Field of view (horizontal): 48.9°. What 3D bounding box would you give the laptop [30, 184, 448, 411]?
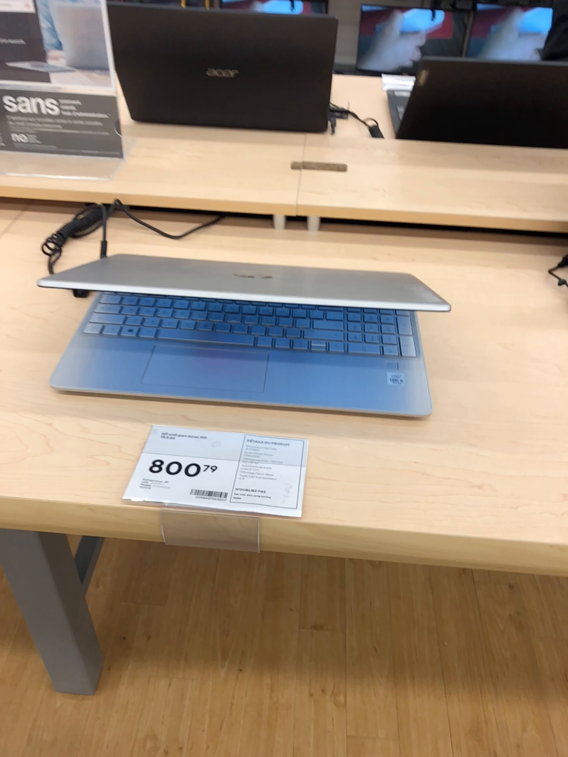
[{"bbox_3d":[-0.030,-0.090,0.618,0.340,0.086,0.225,4,42,1],"label":"laptop"}]
